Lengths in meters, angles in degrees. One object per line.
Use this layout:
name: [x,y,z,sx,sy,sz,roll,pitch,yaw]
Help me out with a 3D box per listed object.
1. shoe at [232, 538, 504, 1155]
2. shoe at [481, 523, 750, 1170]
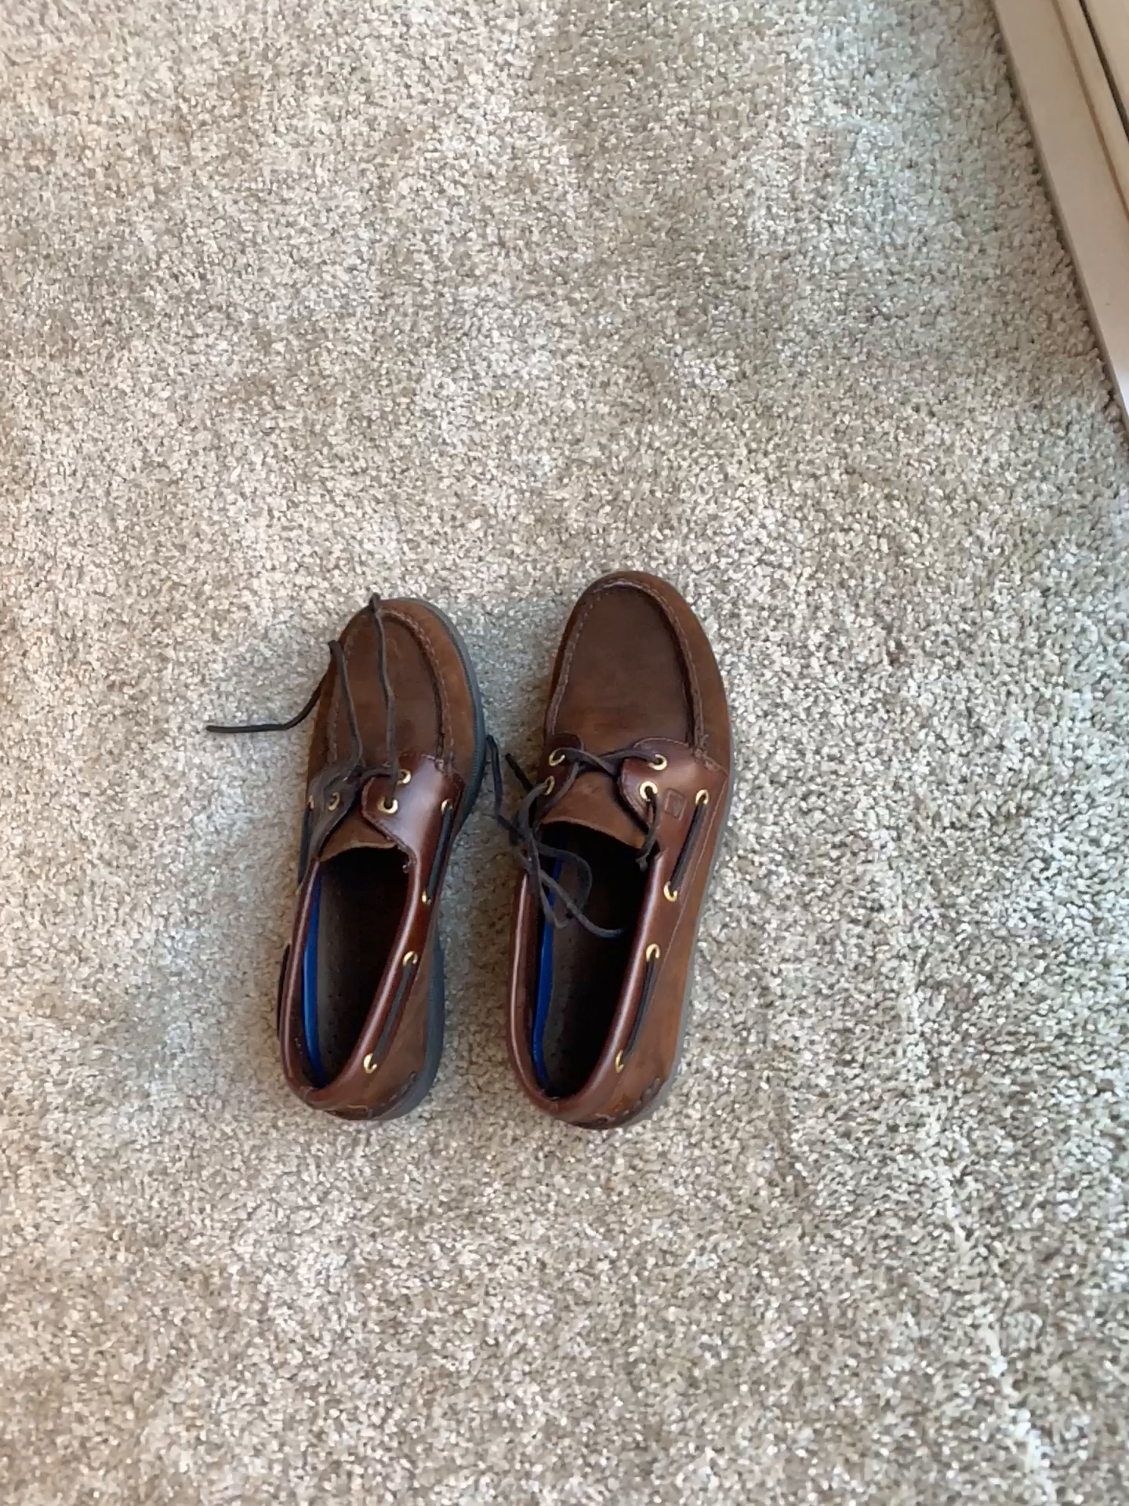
shoe: [-0.104,0.051,0.656,0.100,0.100,0.320,-2,78,17]
shoe: [0.033,0.047,0.595,0.110,0.100,0.300,-2,78,17]
